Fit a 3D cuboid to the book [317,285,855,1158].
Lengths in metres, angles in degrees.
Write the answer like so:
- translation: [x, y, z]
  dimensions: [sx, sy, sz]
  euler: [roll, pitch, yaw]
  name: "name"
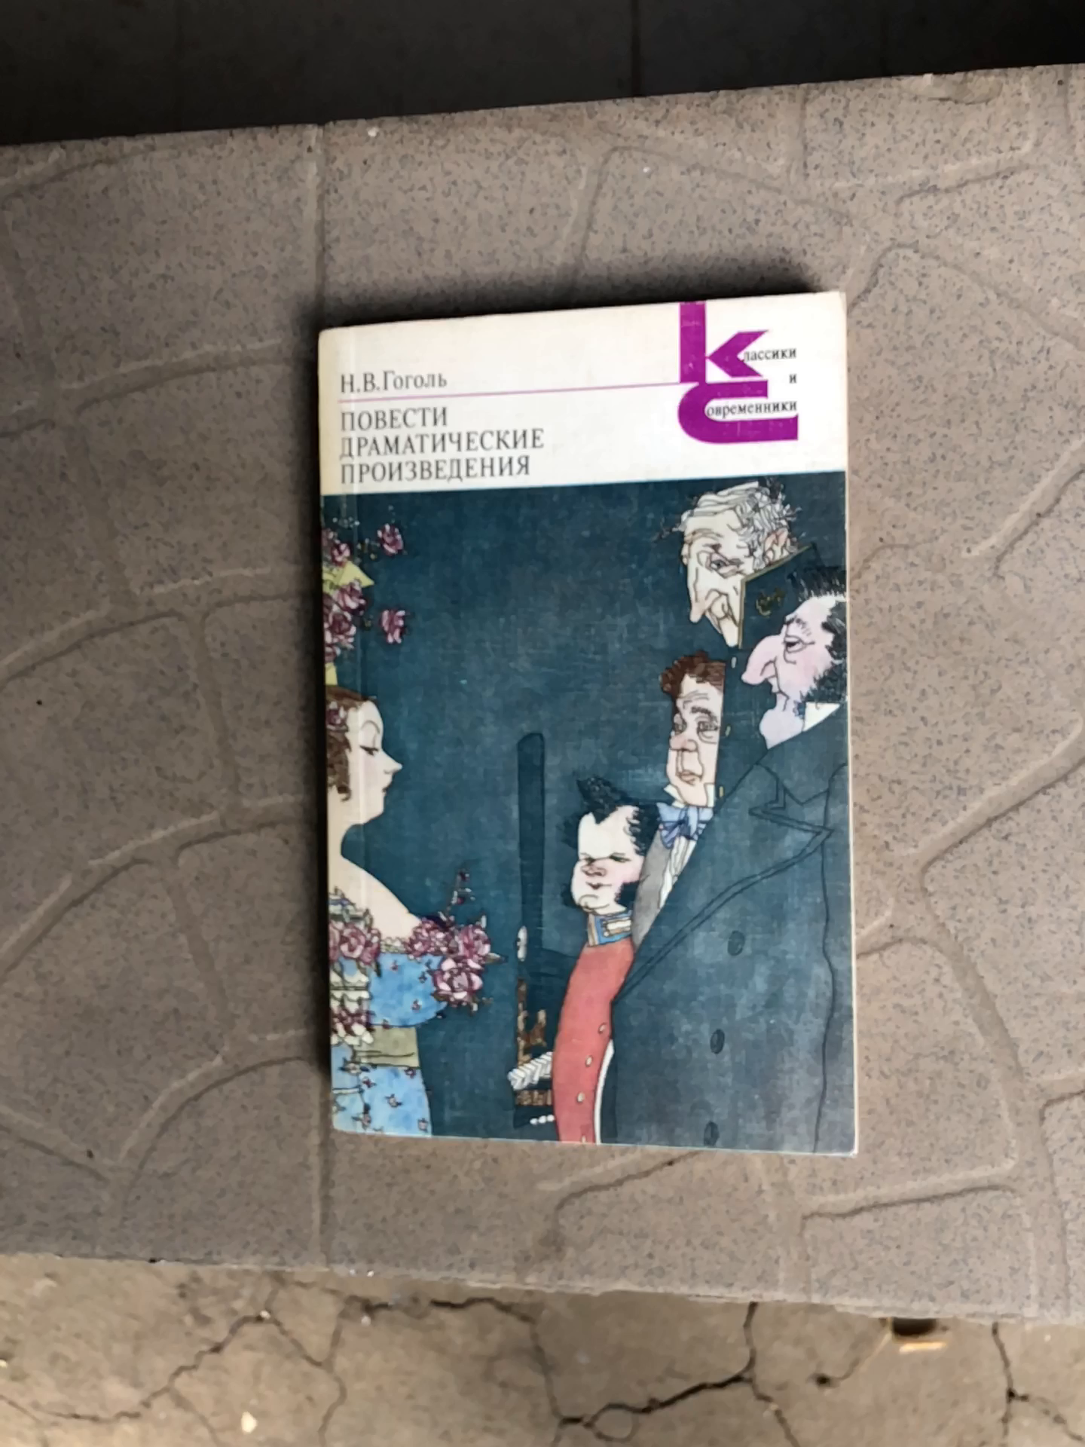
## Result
- translation: [0.010, 0.001, 0.290]
  dimensions: [0.123, 0.021, 0.193]
  euler: [0, 91, 11]
  name: "book"
